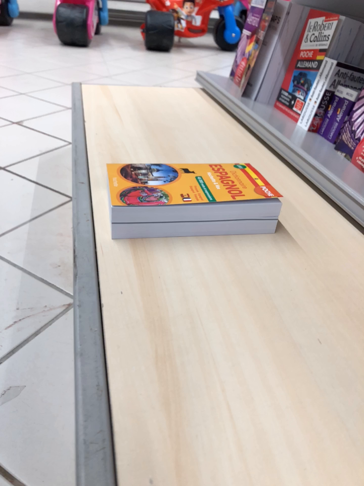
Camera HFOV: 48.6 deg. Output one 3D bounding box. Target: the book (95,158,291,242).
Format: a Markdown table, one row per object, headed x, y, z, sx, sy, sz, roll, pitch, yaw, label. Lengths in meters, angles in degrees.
| x | y | z | sx | sy | sz | roll | pitch | yaw | label |
| --- | --- | --- | --- | --- | --- | --- | --- | --- | --- |
| 0.003 | -0.052 | 0.440 | 0.190 | 0.040 | 0.117 | -2 | 32 | -11 | book |
